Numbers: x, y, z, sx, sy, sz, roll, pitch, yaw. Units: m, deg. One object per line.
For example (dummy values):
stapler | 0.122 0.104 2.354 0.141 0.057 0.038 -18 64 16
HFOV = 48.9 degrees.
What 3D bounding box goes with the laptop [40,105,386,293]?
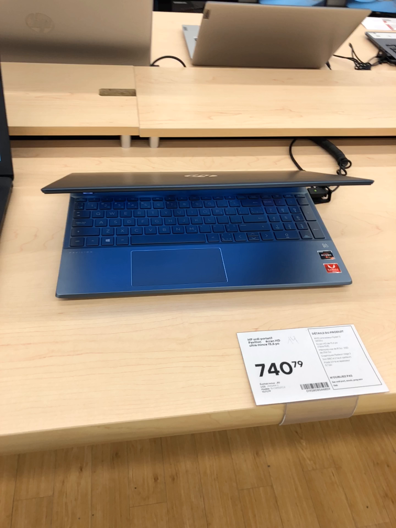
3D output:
laptop | 0.008 -0.091 0.546 0.349 0.119 0.210 -2 46 -8
